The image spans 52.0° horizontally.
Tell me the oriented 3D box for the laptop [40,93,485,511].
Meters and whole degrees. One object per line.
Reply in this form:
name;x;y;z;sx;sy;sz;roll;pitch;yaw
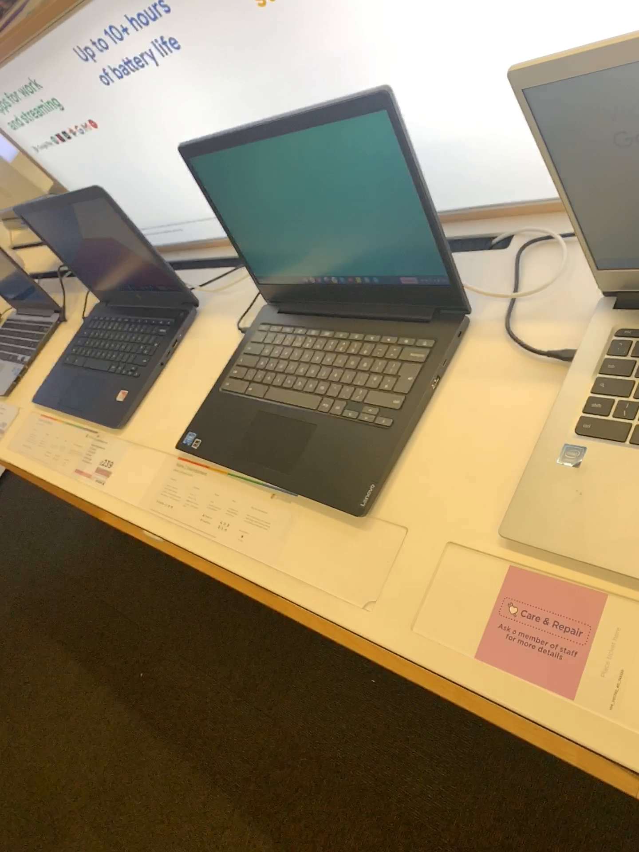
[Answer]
laptop;-0.063;-0.121;0.669;0.317;0.201;0.281;13;68;46
